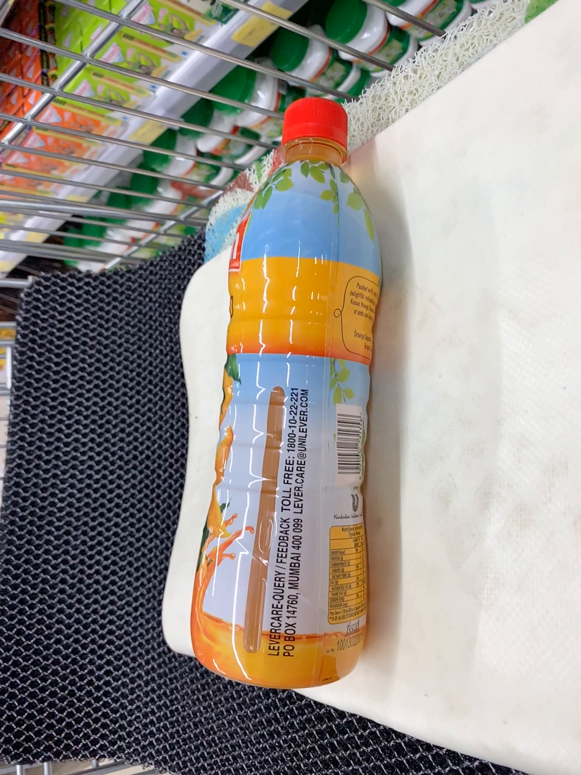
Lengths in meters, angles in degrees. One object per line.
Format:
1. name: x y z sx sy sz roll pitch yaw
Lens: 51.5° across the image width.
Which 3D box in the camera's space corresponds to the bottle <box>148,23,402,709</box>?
1. bottle: -0.003 -0.007 0.248 0.080 0.070 0.230 -2 88 20
